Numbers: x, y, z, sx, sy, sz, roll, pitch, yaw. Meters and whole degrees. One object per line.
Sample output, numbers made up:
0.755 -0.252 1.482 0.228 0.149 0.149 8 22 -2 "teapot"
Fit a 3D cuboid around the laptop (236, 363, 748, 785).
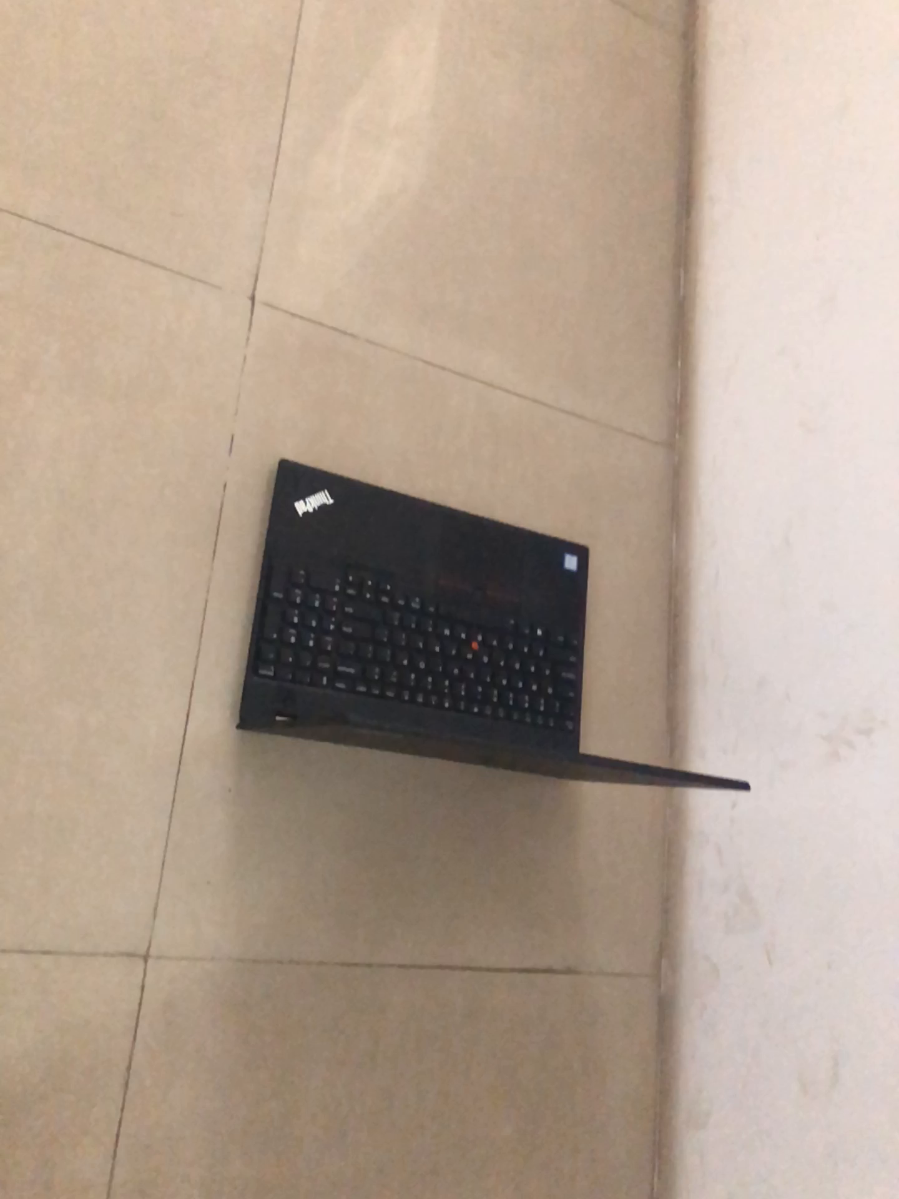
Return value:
0.041 0.010 0.866 0.354 0.241 0.255 14 73 -28 "laptop"
